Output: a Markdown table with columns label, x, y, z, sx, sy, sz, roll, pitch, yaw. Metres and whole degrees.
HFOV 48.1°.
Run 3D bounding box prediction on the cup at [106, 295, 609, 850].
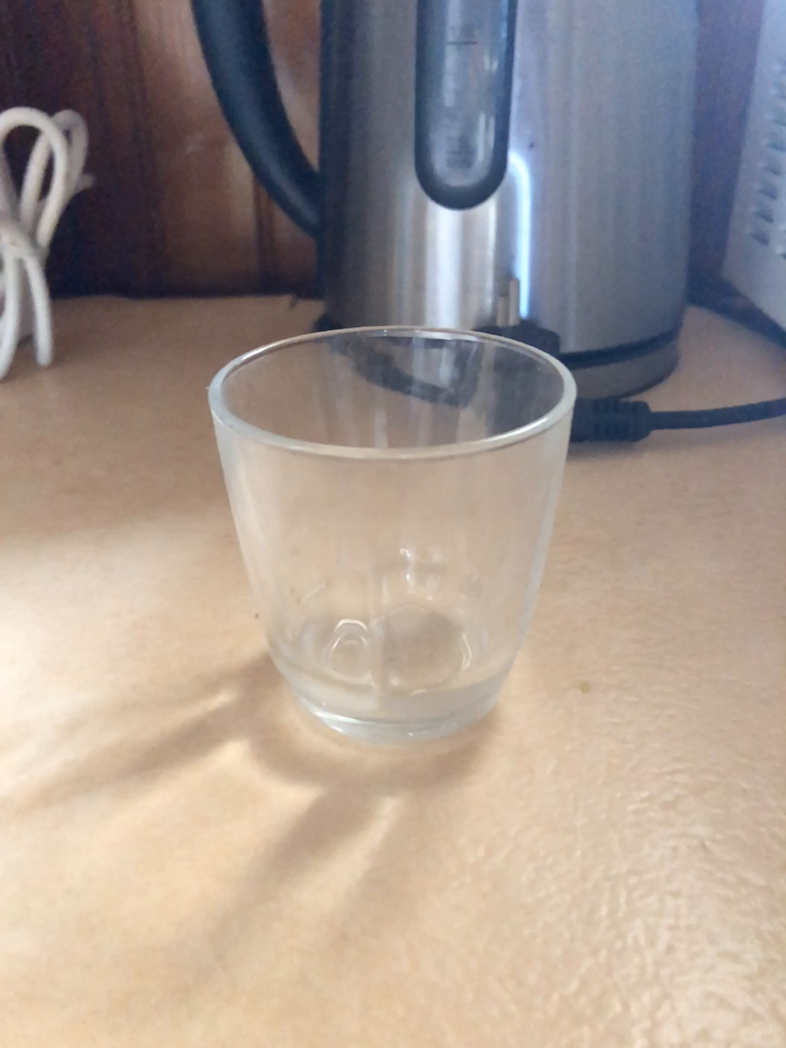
| label | x | y | z | sx | sy | sz | roll | pitch | yaw |
| --- | --- | --- | --- | --- | --- | --- | --- | --- | --- |
| cup | -0.007 | 0.003 | 0.192 | 0.070 | 0.080 | 0.070 | -1 | 29 | 0 |
